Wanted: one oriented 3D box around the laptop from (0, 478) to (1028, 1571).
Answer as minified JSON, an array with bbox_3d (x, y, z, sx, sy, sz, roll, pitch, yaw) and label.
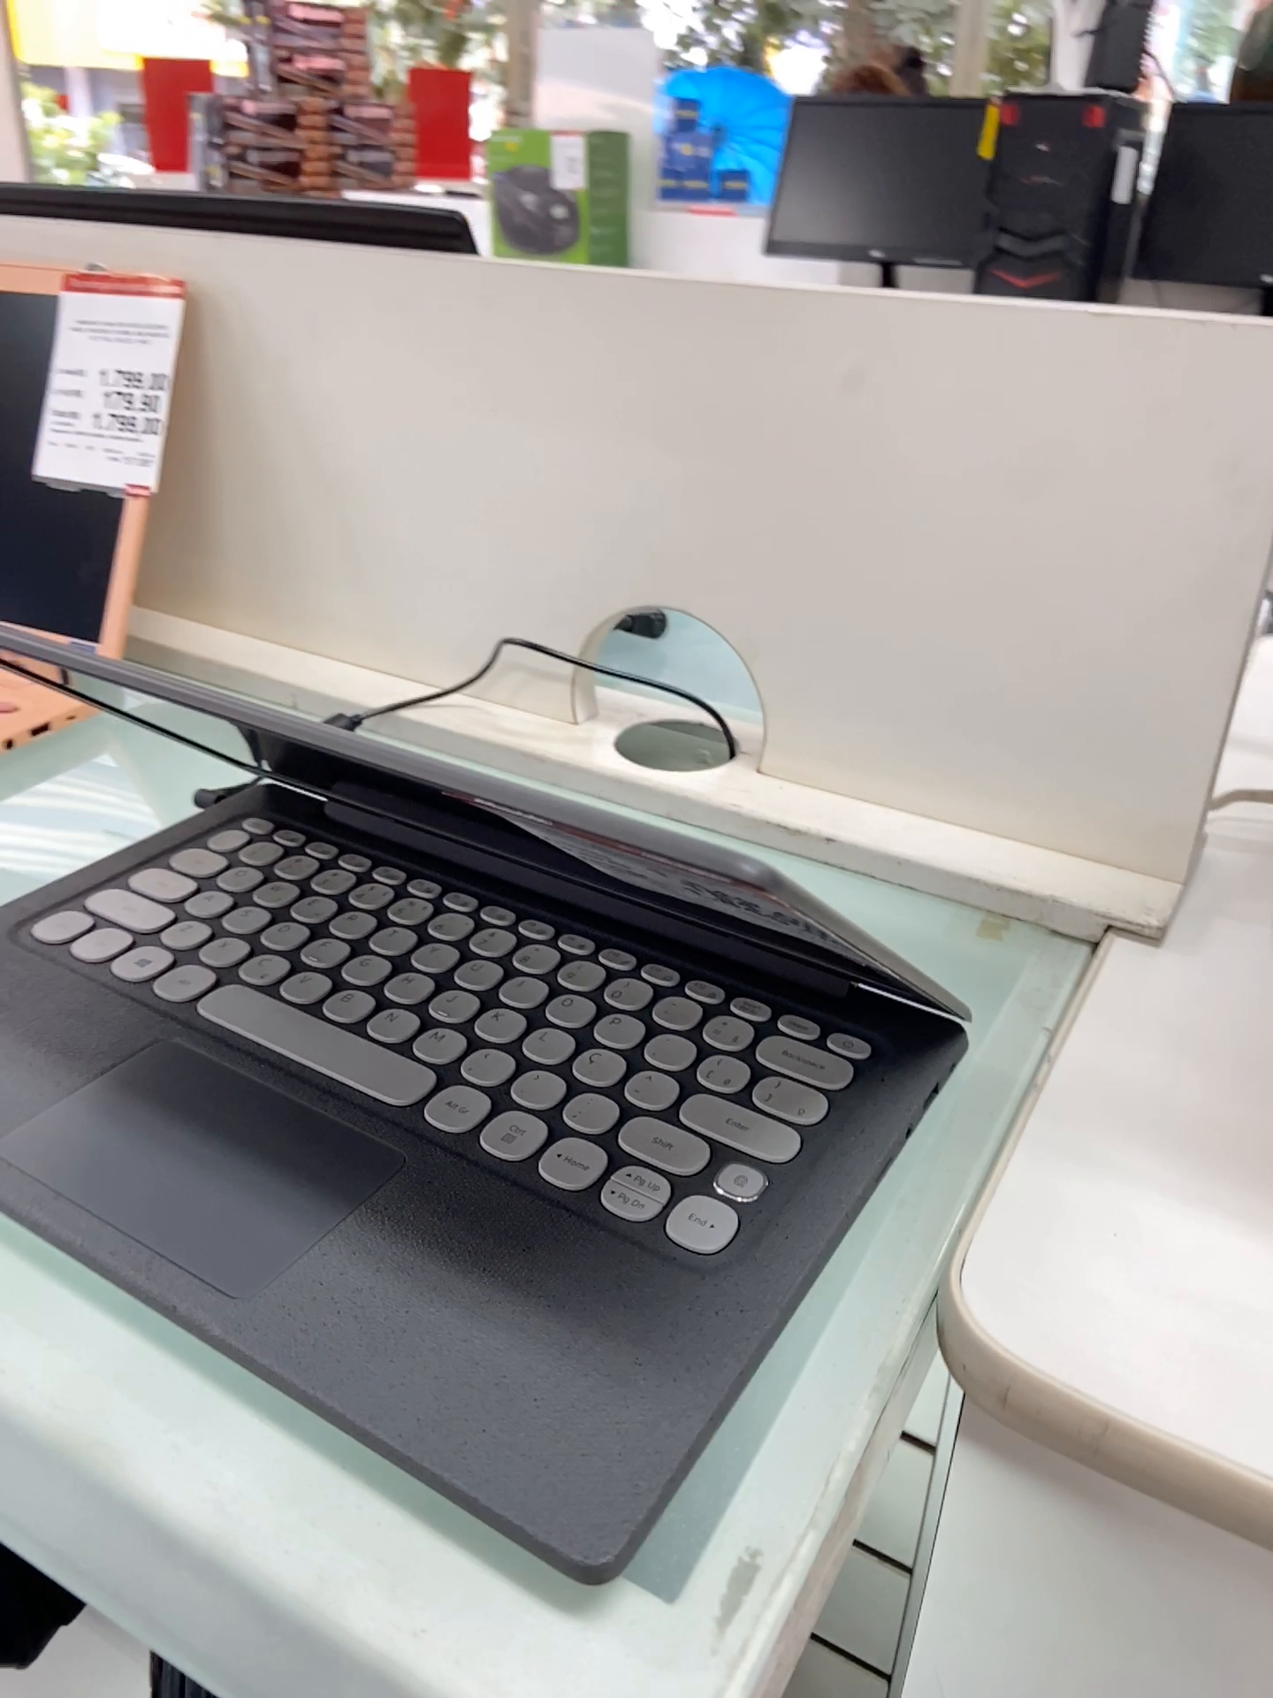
[{"bbox_3d":[-0.085,0.000,0.381,0.316,0.132,0.212,17,32,28],"label":"laptop"}]
